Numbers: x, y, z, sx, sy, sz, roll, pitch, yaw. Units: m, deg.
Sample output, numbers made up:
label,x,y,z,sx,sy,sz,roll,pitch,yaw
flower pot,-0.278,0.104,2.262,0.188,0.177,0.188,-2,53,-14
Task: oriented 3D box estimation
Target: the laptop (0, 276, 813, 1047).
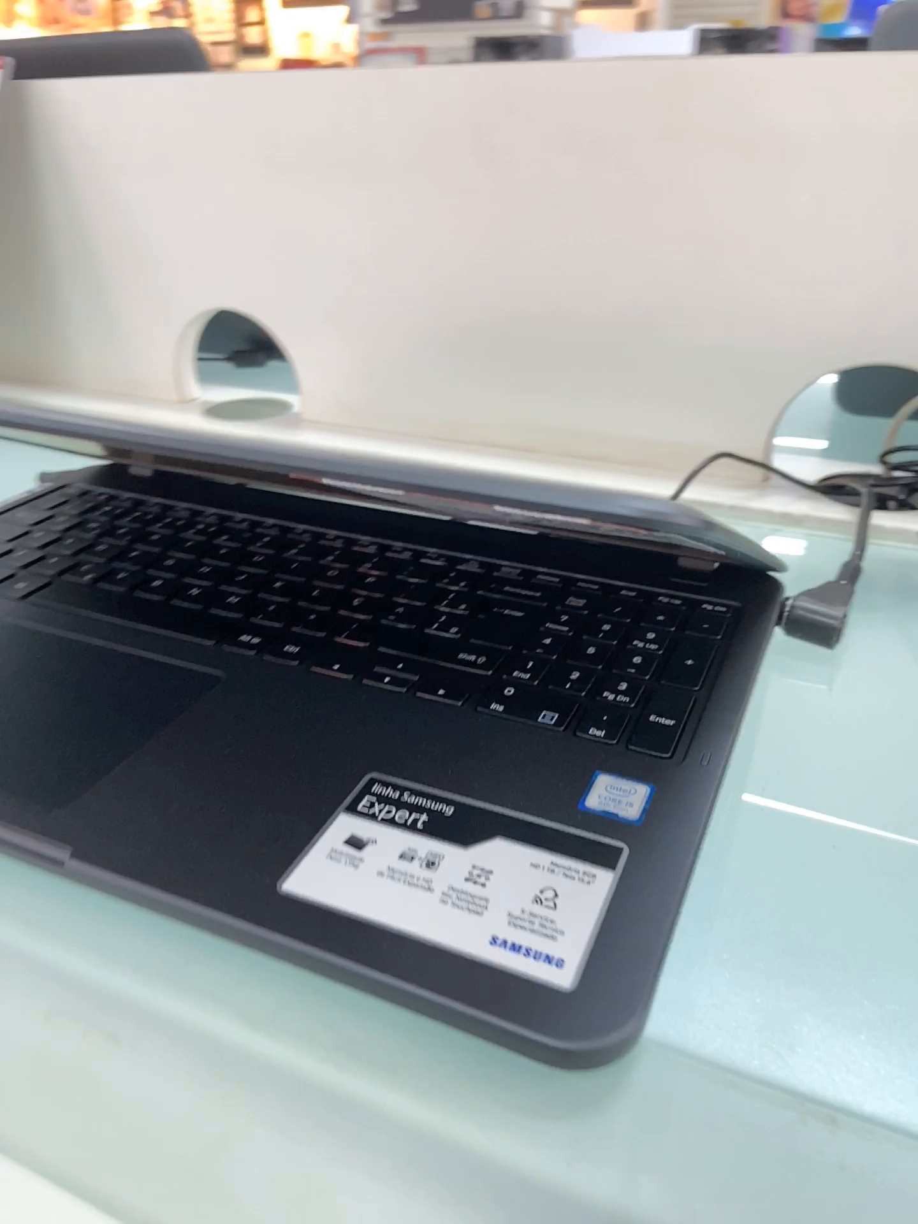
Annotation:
label,x,y,z,sx,sy,sz,roll,pitch,yaw
laptop,-0.093,-0.039,0.341,0.376,0.101,0.234,11,31,22
